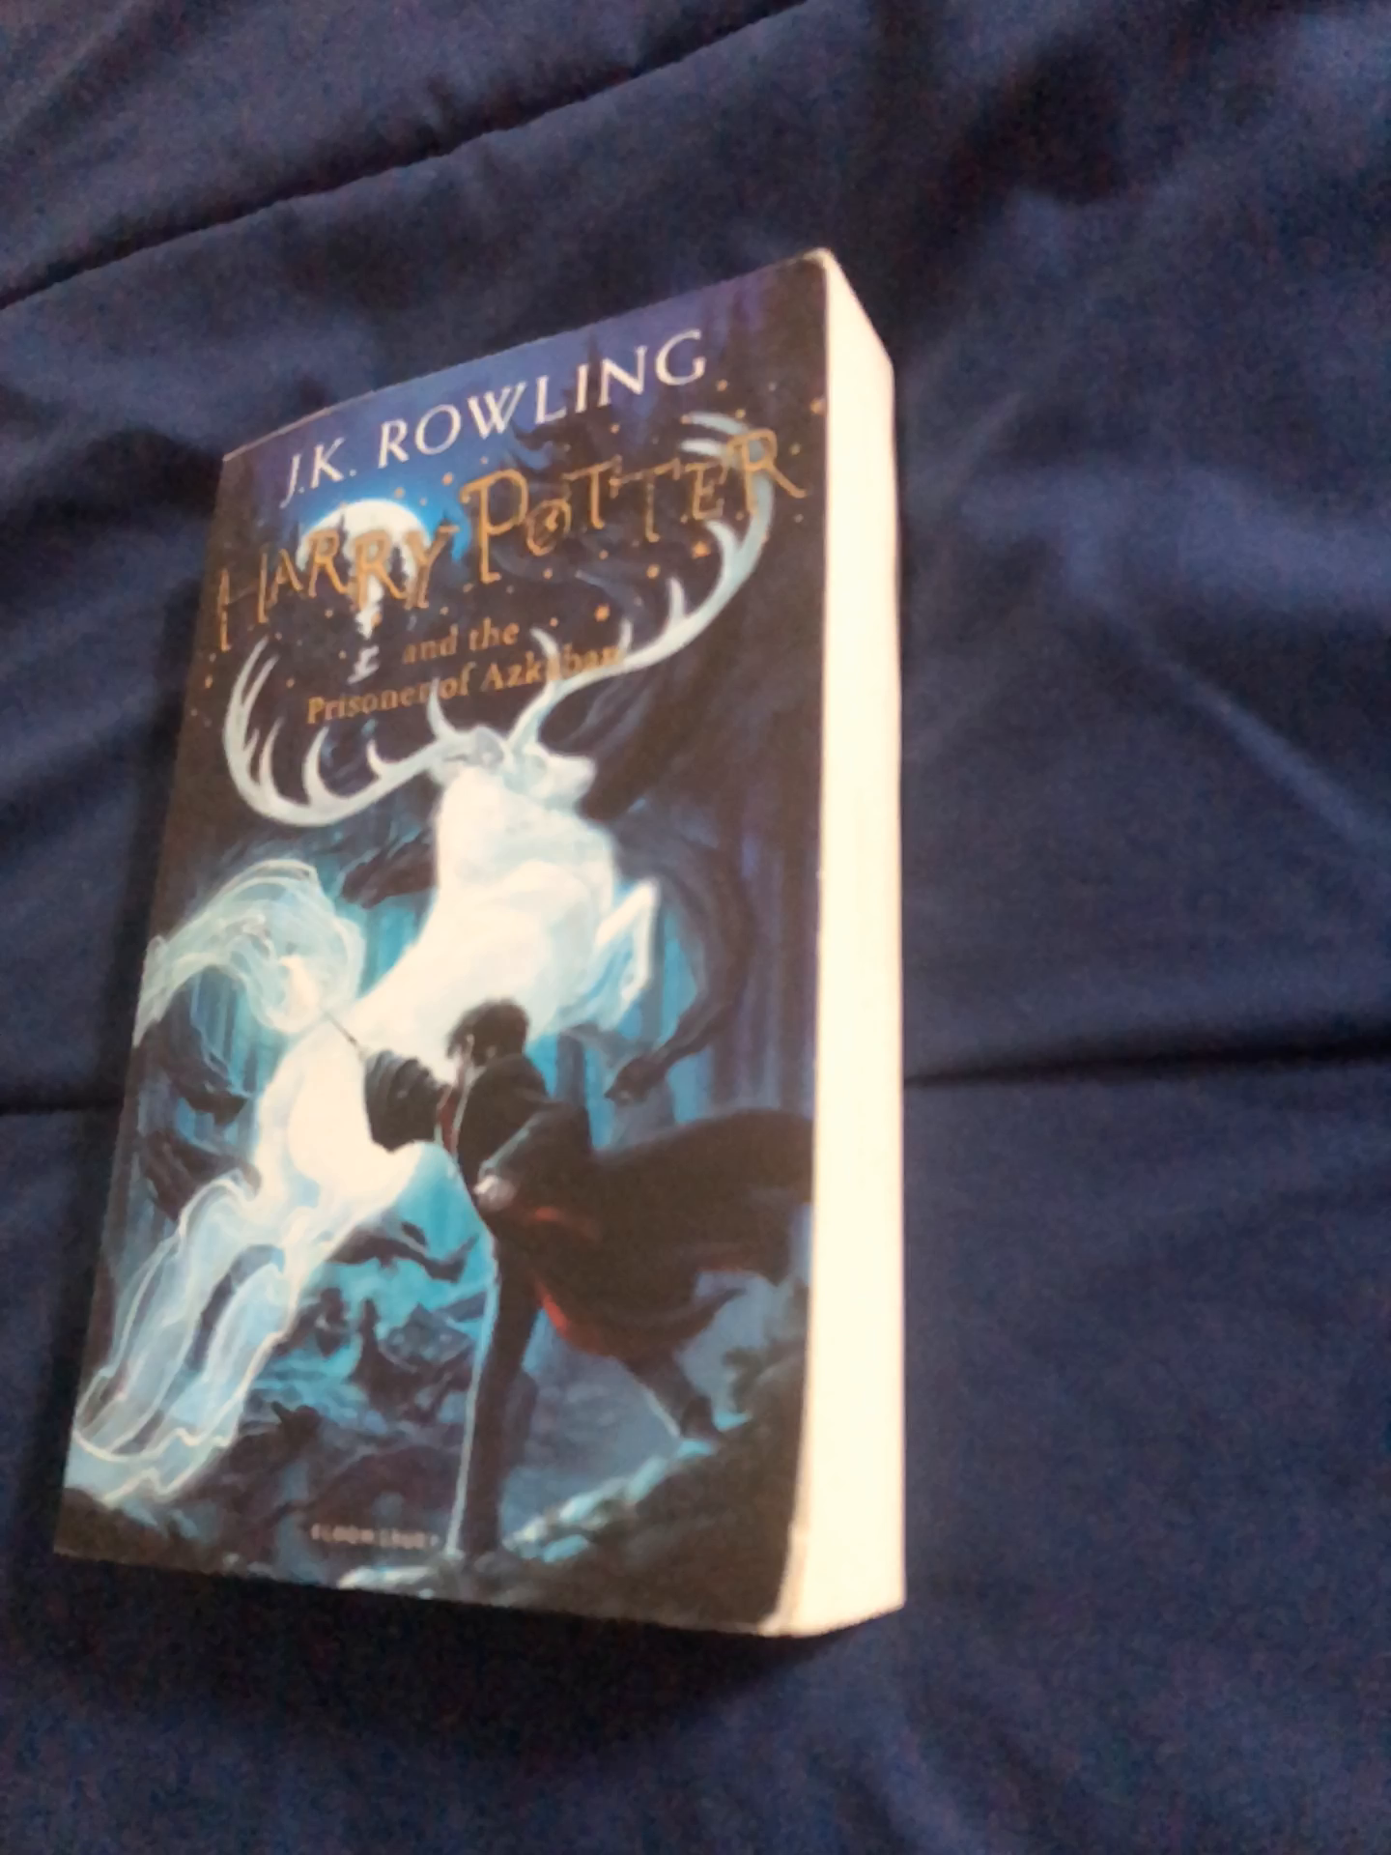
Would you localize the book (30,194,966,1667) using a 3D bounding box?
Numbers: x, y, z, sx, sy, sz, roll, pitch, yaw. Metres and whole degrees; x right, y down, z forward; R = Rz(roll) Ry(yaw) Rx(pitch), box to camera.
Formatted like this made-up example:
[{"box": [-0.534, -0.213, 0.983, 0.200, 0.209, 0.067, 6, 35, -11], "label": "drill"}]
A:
[{"box": [-0.028, -0.001, 0.250, 0.134, 0.045, 0.200, -6, 72, 27], "label": "book"}]
